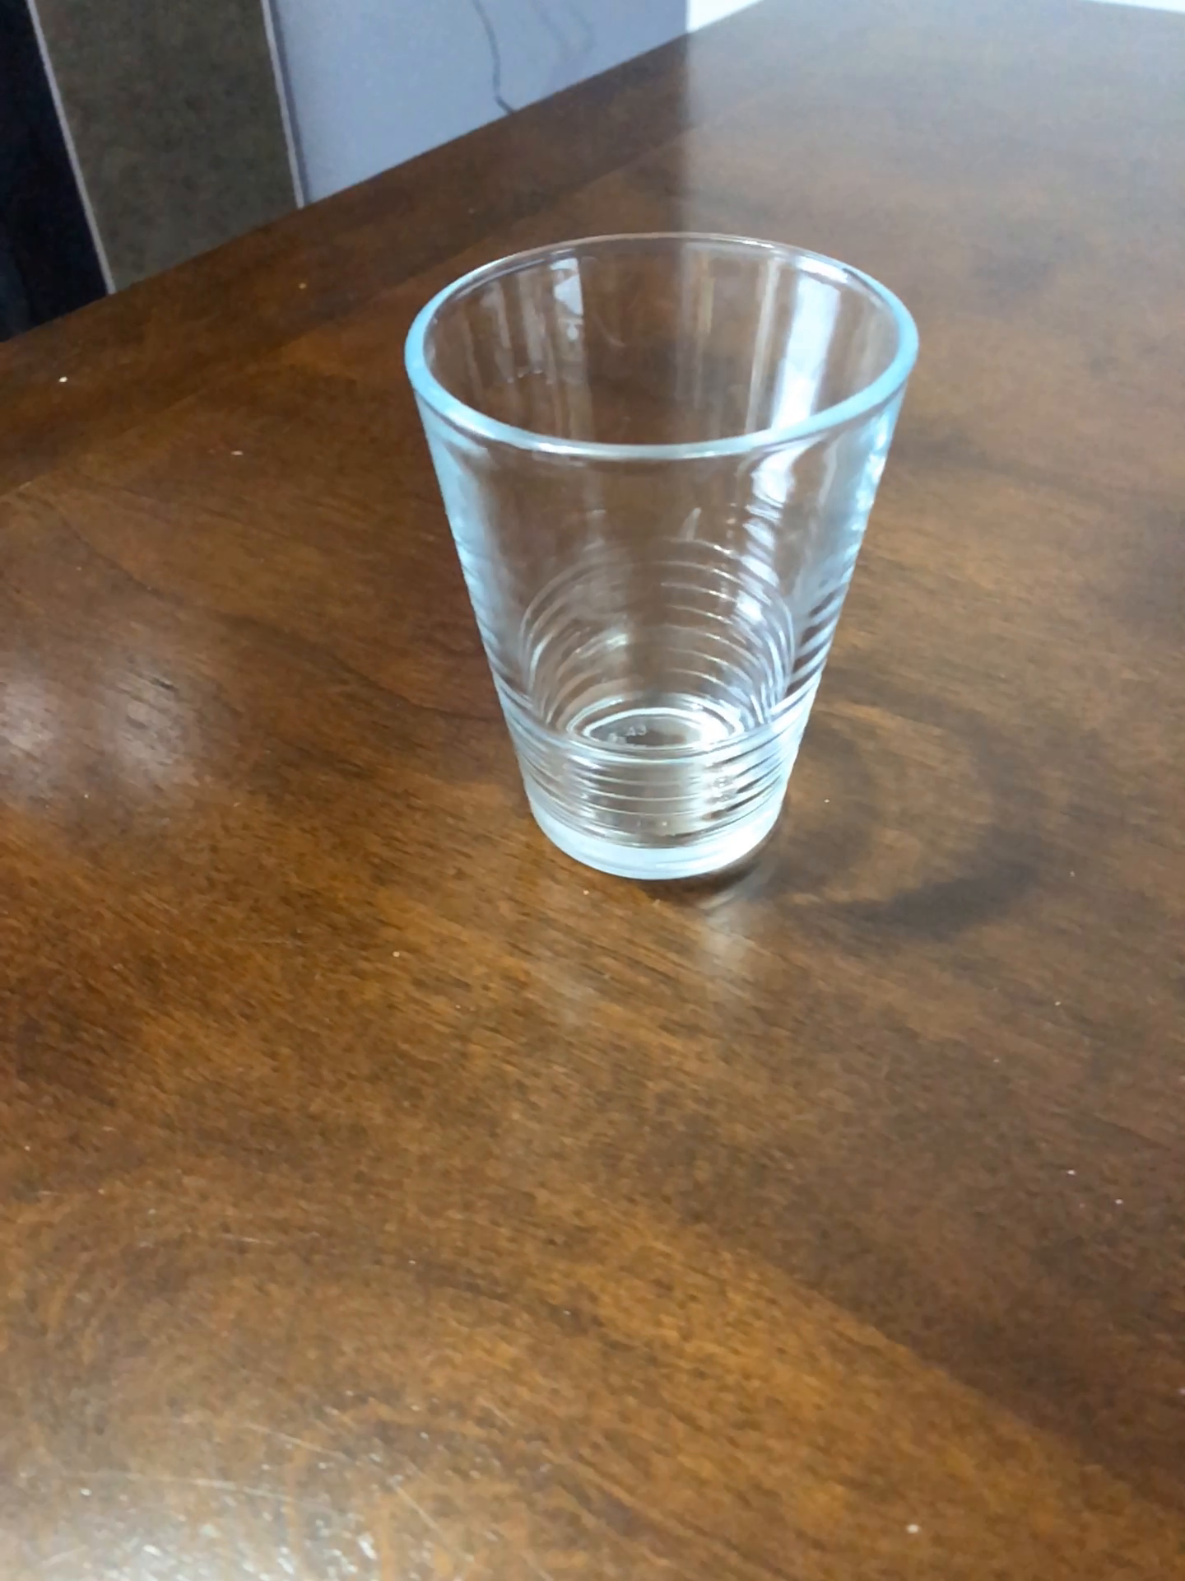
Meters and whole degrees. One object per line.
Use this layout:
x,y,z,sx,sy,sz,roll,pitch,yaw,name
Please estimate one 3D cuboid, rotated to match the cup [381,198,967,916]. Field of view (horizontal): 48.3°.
0.009,-0.042,0.242,0.080,0.100,0.070,-7,43,-5,cup
